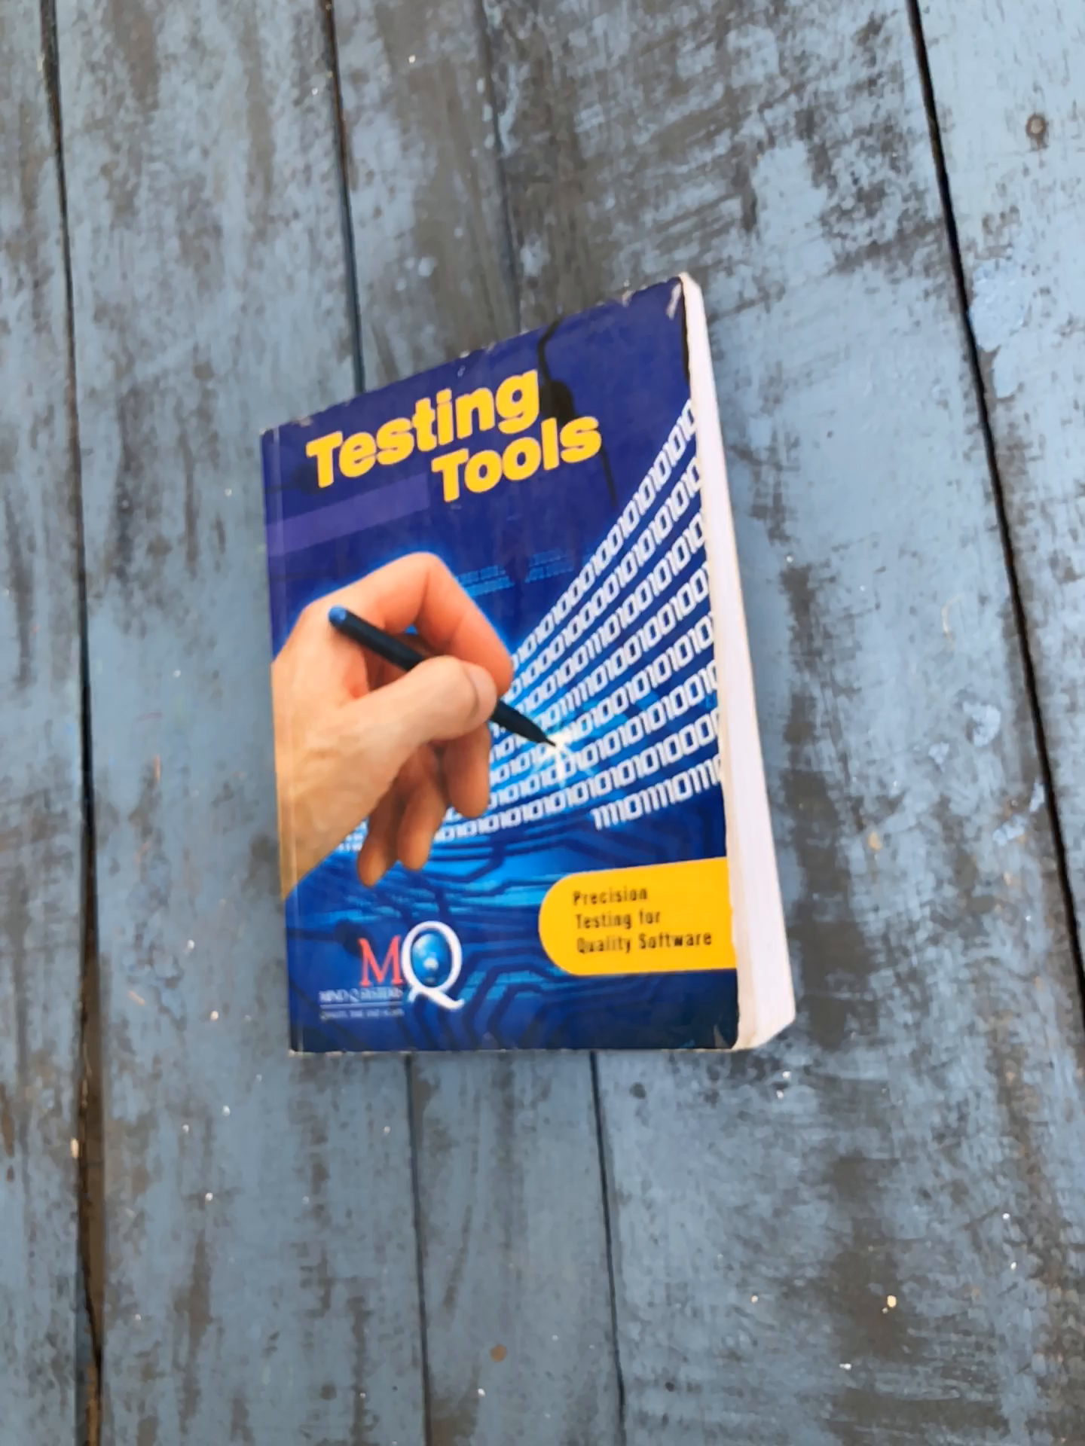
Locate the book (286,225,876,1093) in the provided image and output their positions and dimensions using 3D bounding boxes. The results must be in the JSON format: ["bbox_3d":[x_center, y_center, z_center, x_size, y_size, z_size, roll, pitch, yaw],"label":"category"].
[{"bbox_3d":[0.000,-0.009,0.424,0.191,0.050,0.260,-11,76,32],"label":"book"}]
